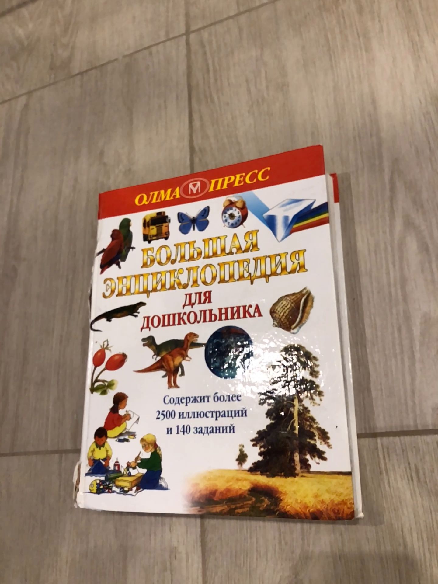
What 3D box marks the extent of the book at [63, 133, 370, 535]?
[{"bbox_3d":[-0.005,0.031,0.395,0.216,0.060,0.281,-7,71,20],"label":"book"}]
